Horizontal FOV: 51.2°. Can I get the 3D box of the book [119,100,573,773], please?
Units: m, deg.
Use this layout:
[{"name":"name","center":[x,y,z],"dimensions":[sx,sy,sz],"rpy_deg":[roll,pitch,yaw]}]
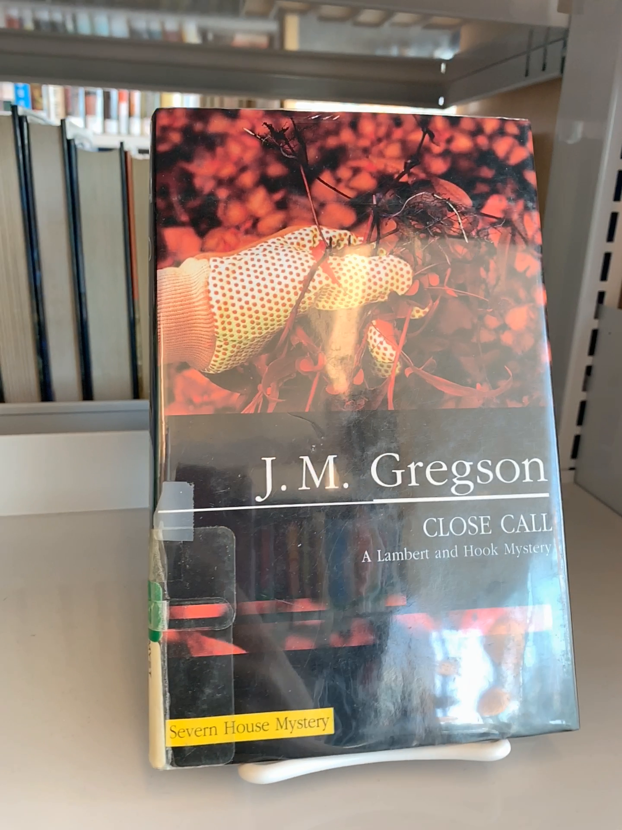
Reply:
[{"name":"book","center":[0.009,0.001,0.224],"dimensions":[0.140,0.208,0.030],"rpy_deg":[-1,-6,-7]}]
